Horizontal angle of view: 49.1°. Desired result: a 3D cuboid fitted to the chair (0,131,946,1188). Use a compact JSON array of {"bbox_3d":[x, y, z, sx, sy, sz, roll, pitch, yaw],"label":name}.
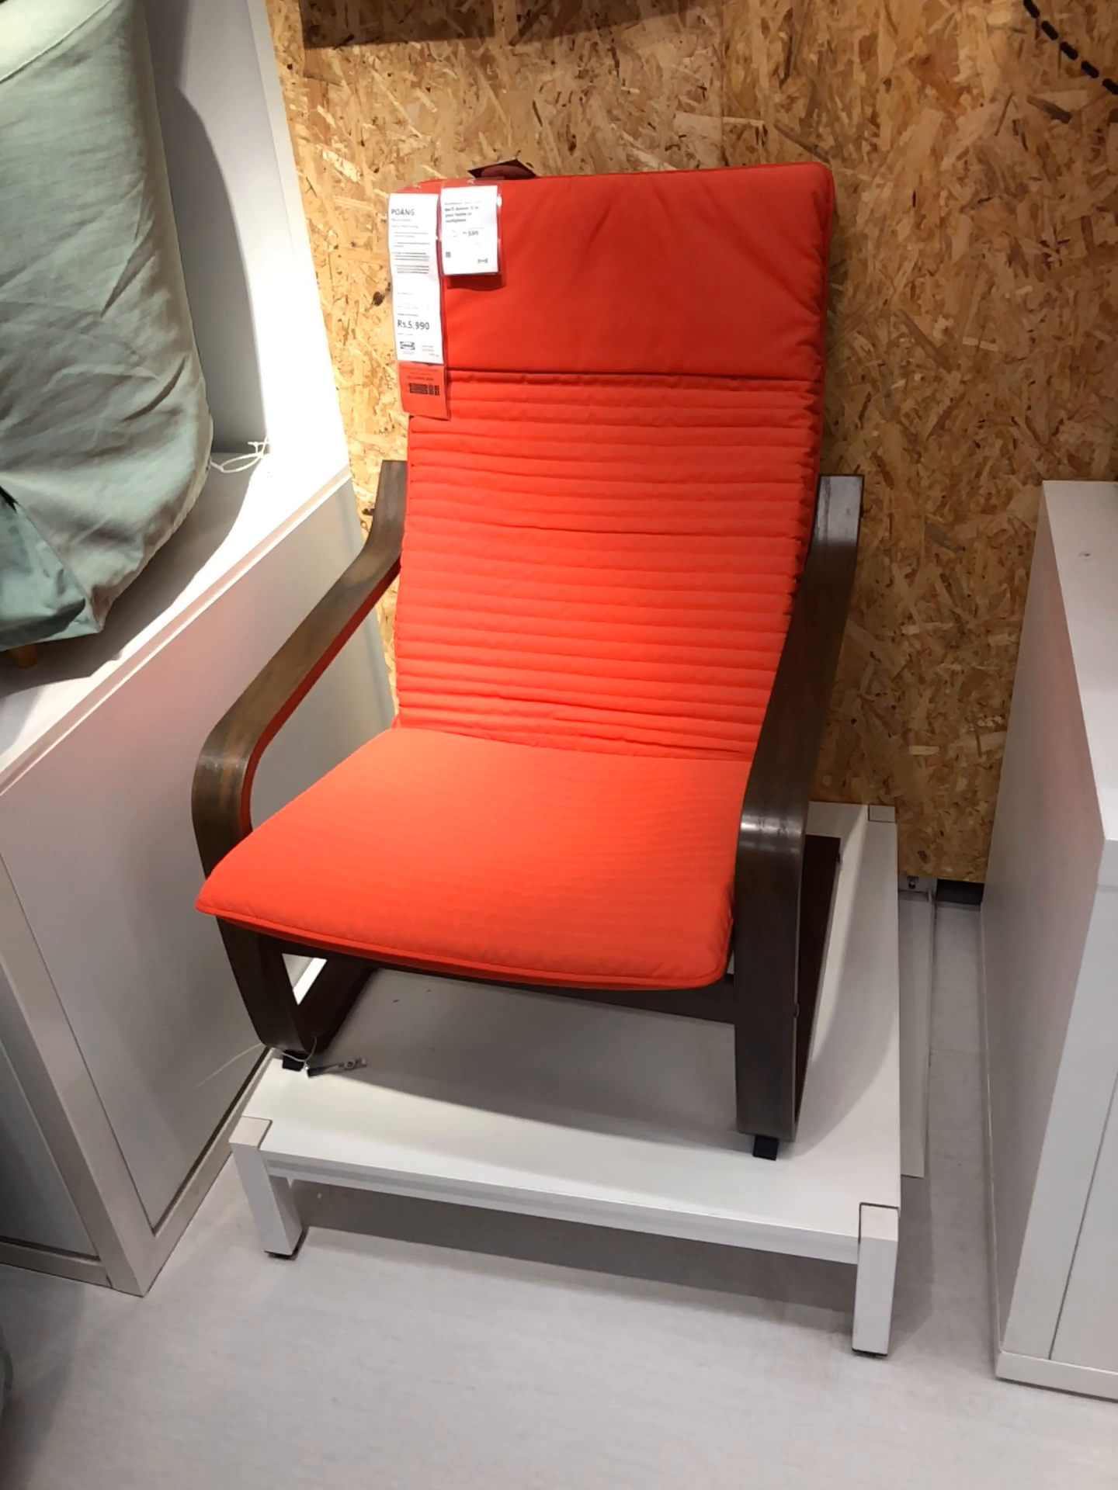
[{"bbox_3d":[0.019,-0.161,1.459,0.751,0.894,0.795,5,34,16],"label":"chair"}]
